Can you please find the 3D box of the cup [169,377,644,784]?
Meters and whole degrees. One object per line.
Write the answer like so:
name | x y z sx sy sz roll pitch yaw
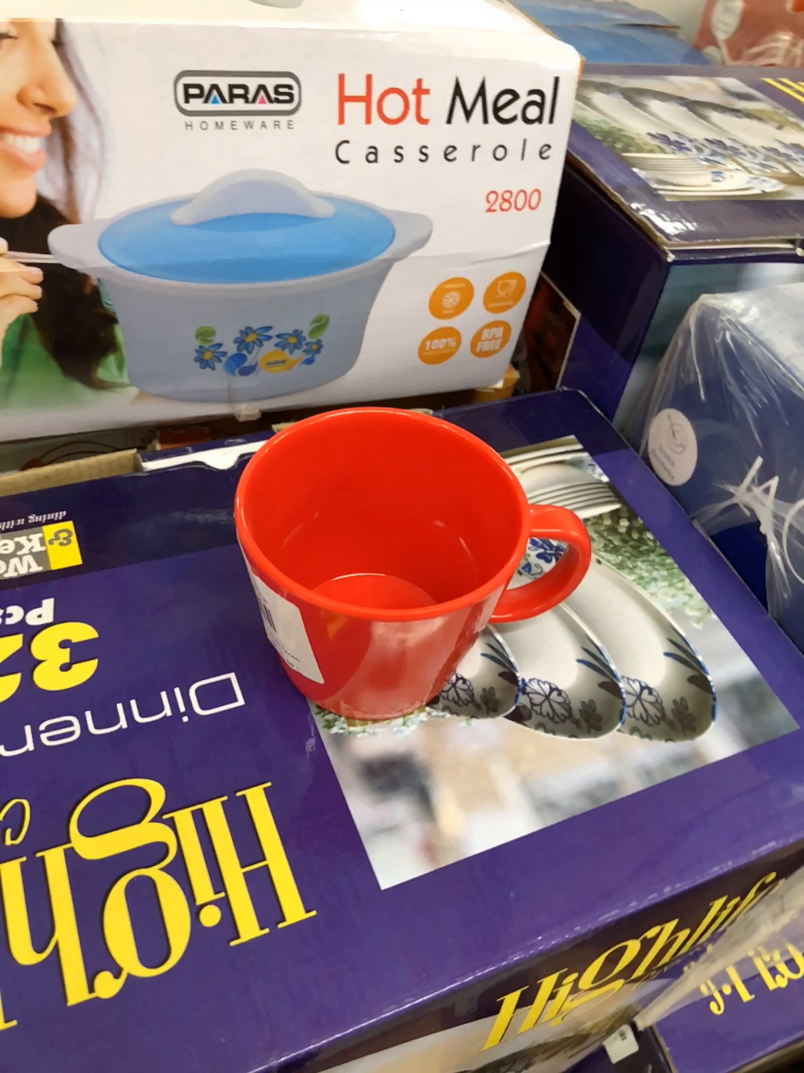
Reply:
cup | -0.004 0.006 0.249 0.100 0.050 0.080 -12 49 -22
